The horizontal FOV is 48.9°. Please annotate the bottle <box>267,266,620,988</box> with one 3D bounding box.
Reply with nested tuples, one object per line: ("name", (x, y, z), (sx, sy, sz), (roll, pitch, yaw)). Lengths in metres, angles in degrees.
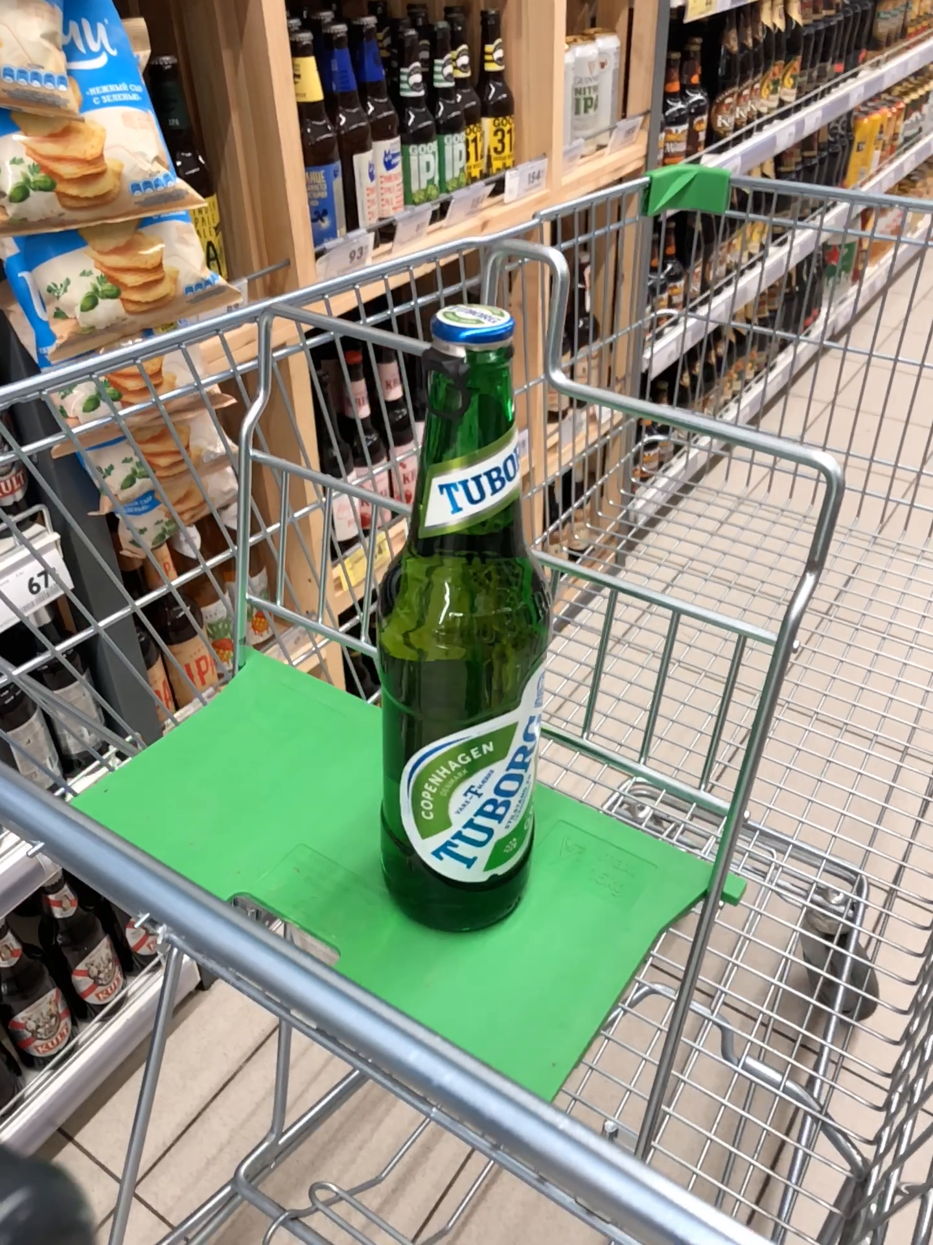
("bottle", (-0.009, 0.014, 0.381), (0.080, 0.258, 0.070), (-20, 41, -25))
